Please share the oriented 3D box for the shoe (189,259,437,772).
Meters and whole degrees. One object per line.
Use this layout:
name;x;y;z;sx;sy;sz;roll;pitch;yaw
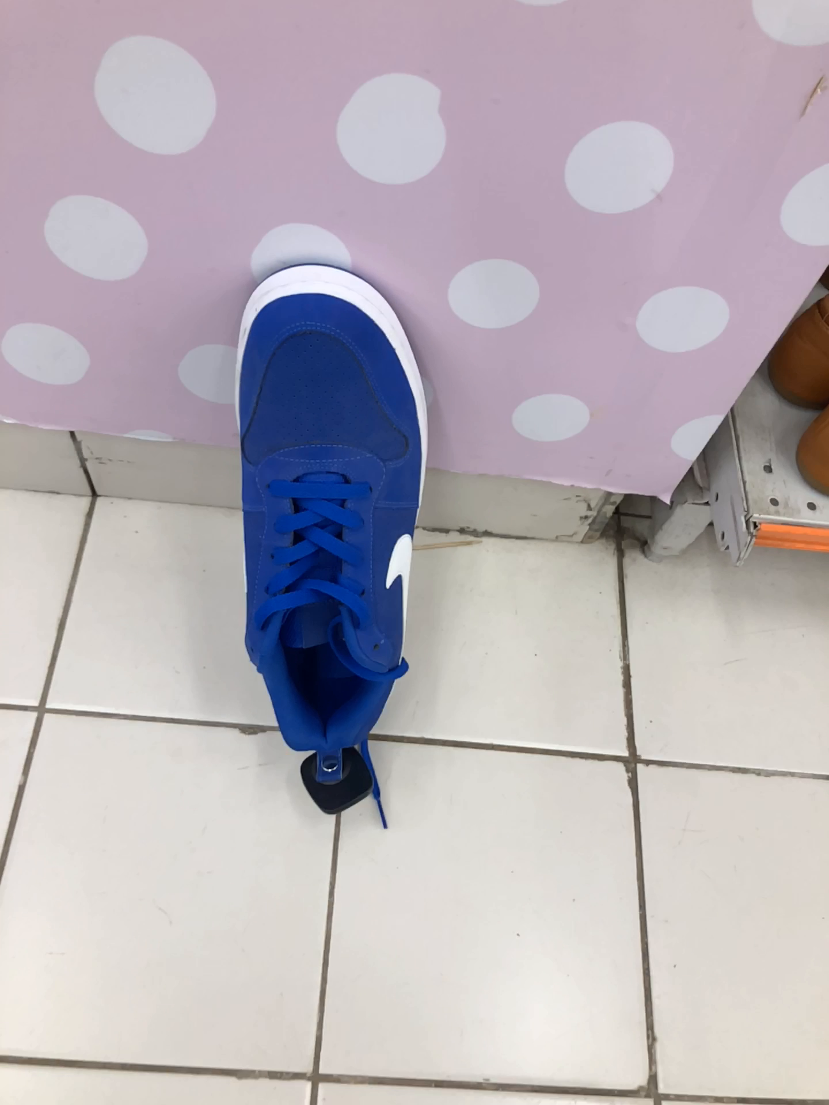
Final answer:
shoe;-0.050;-0.008;0.520;0.110;0.289;0.080;2;34;-2
